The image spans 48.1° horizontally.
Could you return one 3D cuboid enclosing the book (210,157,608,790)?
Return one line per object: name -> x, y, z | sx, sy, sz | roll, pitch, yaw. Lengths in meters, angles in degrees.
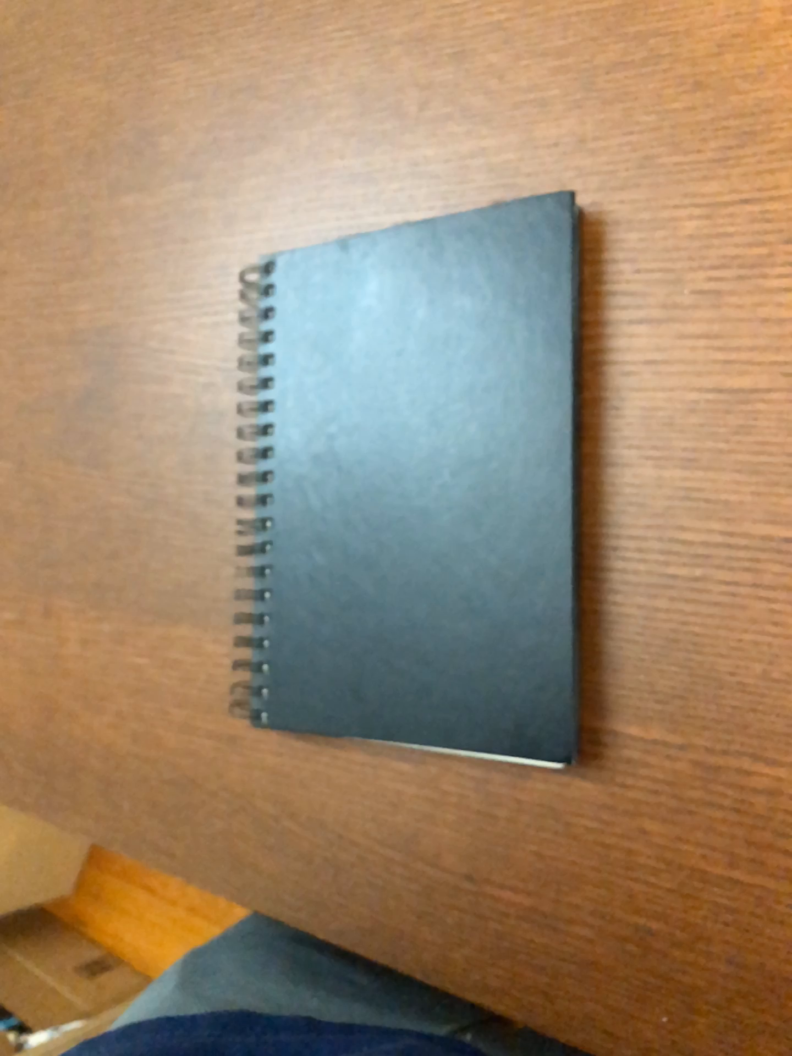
book -> -0.002, -0.022, 0.427 | 0.200, 0.030, 0.260 | -2, 85, 32
